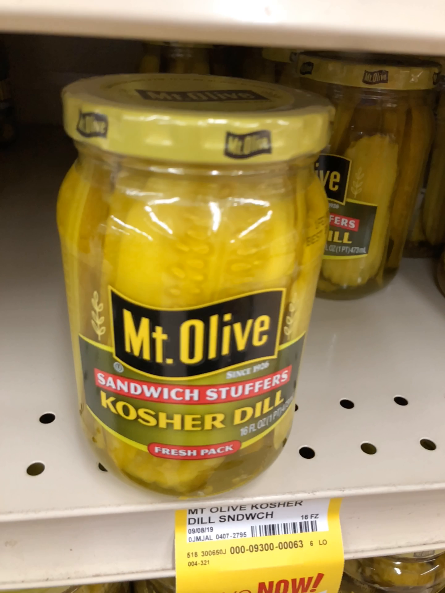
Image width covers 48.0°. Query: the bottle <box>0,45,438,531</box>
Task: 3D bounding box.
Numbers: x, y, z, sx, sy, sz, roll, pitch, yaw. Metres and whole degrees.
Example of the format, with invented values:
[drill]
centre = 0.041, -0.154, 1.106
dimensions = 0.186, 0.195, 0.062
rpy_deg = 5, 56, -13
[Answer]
[bottle]
centre = -0.010, -0.002, 0.162
dimensions = 0.090, 0.130, 0.080
rpy_deg = 1, 32, -6
